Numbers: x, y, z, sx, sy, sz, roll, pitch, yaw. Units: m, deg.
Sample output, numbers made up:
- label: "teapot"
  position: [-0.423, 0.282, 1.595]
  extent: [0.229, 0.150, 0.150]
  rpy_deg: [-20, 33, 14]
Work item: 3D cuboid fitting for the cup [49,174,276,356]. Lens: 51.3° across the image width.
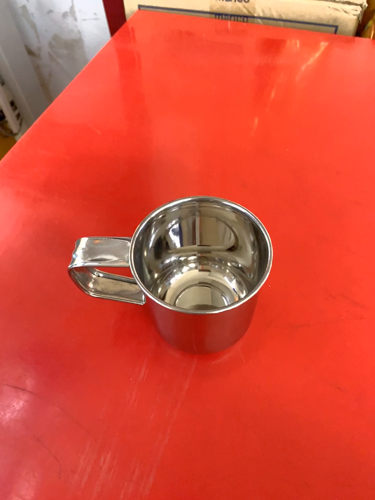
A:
- label: "cup"
  position: [-0.008, 0.009, 0.238]
  extent: [0.110, 0.070, 0.080]
  rpy_deg: [3, 56, 5]
